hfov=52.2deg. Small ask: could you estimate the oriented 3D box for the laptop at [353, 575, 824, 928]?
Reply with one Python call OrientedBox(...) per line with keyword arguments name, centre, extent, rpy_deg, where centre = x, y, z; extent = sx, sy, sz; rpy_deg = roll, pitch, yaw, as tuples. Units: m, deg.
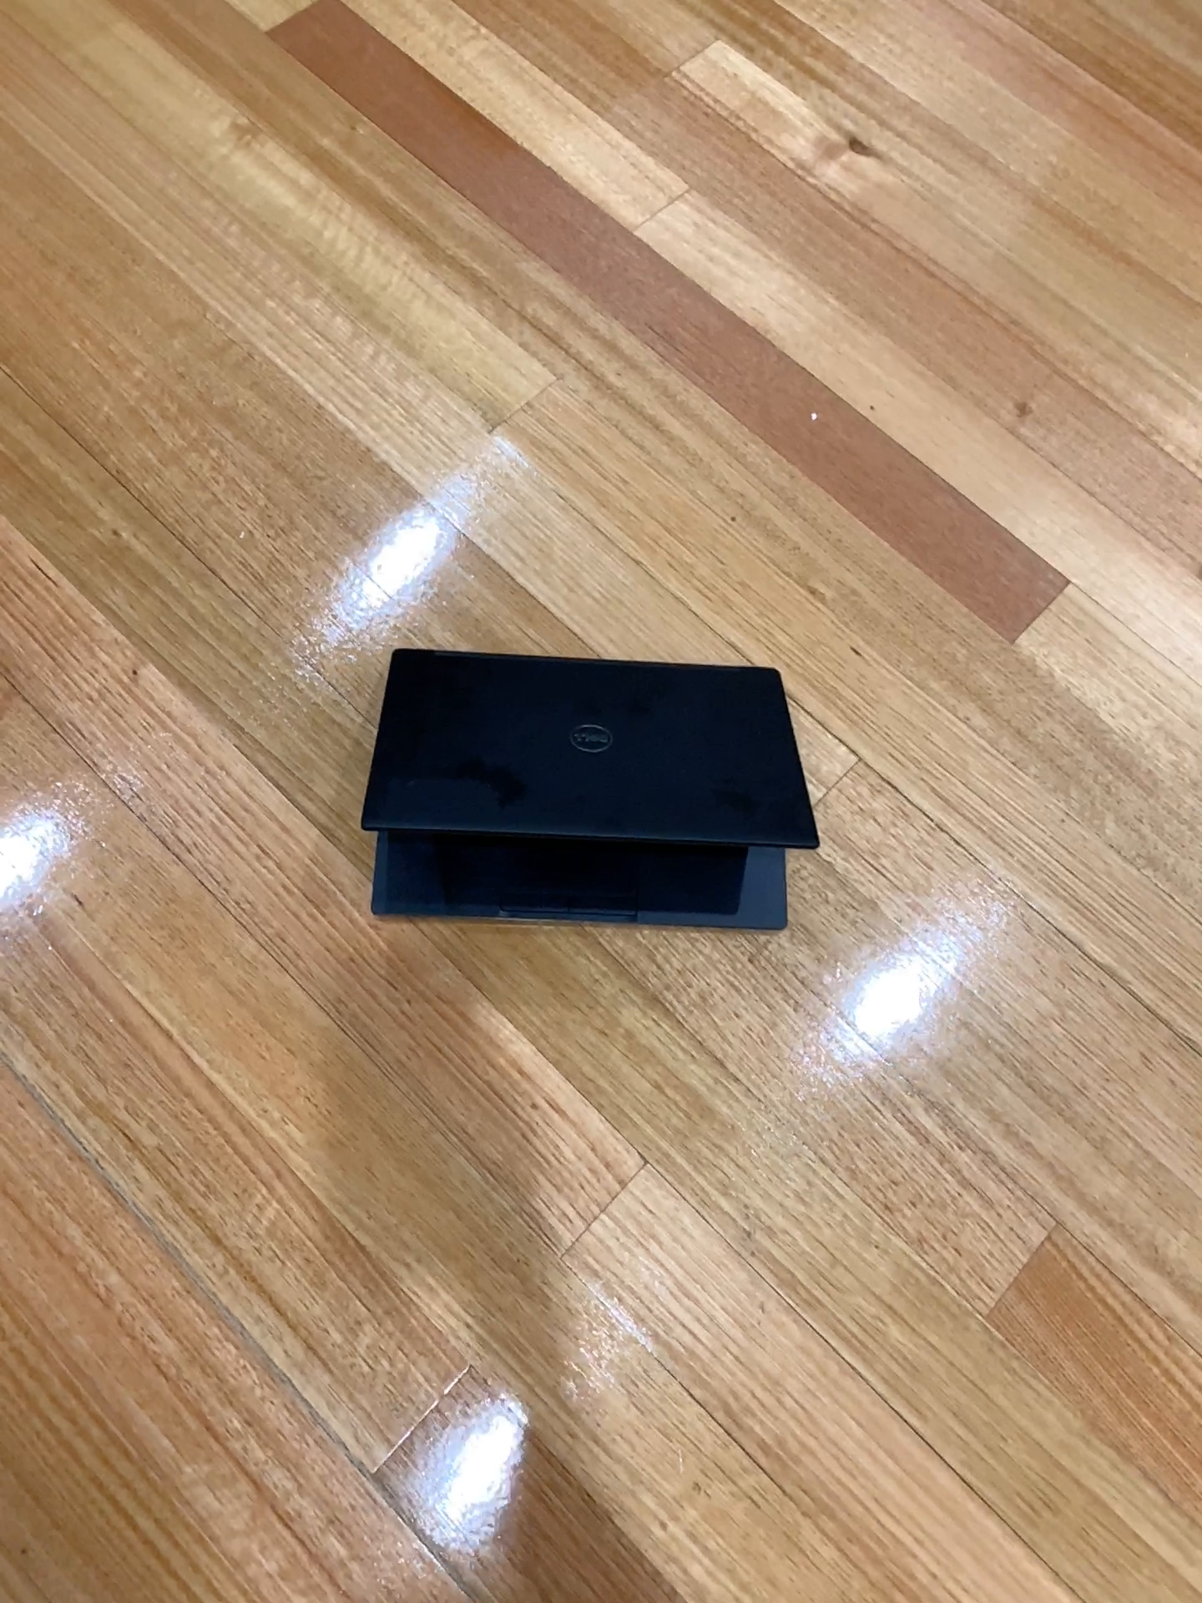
OrientedBox(name="laptop", centre=(-0.008, -0.032, 0.862), extent=(0.296, 0.110, 0.207), rpy_deg=(3, 66, -4))
